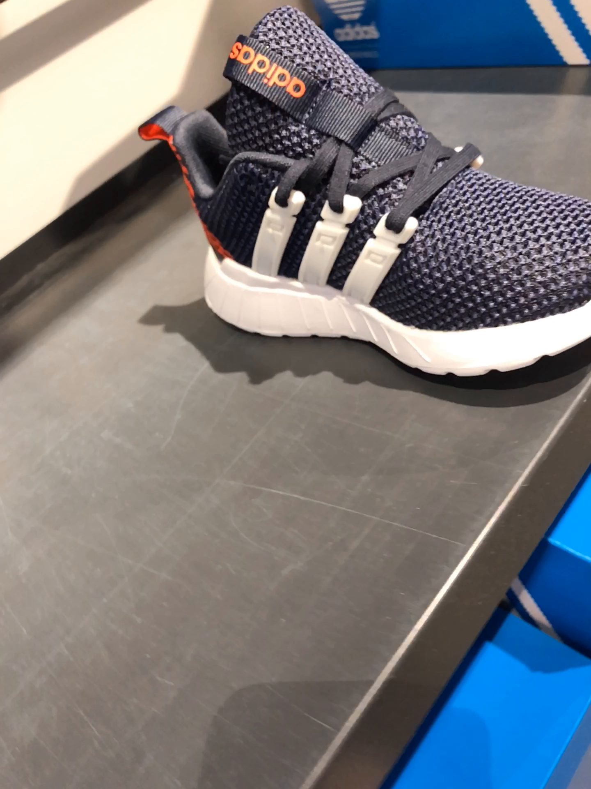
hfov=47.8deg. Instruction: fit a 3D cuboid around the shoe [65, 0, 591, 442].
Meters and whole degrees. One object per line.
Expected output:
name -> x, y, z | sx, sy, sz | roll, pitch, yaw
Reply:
shoe -> 0.023, -0.079, 0.256 | 0.201, 0.109, 0.090 | 19, 57, 43
